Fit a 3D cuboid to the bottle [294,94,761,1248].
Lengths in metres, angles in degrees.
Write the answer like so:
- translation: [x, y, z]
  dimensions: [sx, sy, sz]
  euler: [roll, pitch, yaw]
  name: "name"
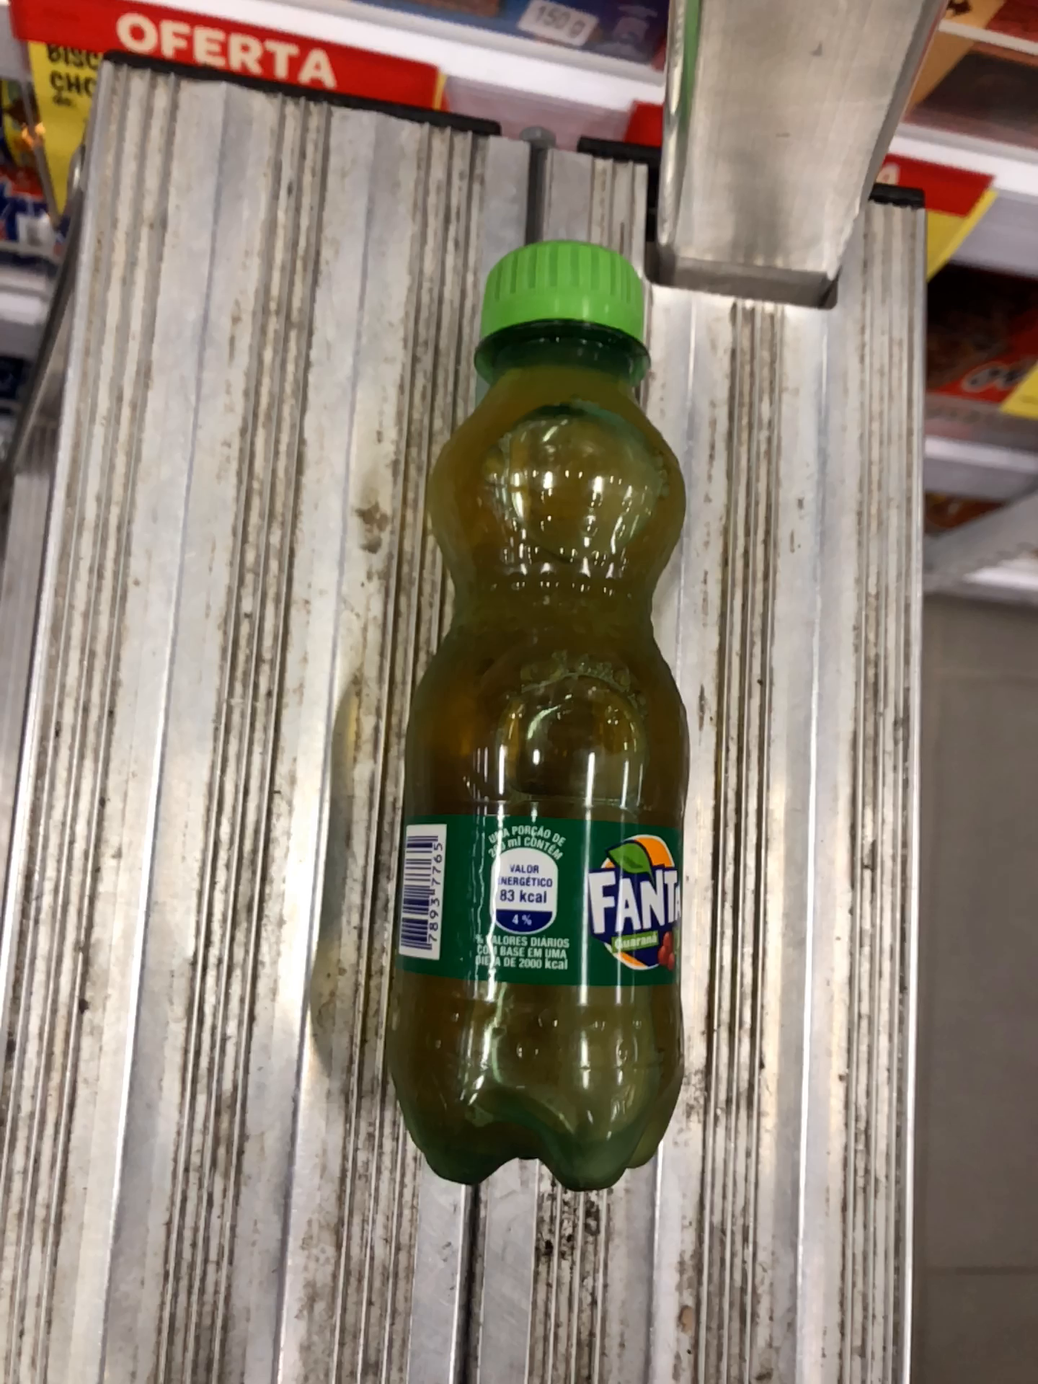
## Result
- translation: [0.006, -0.005, 0.202]
  dimensions: [0.050, 0.050, 0.170]
  euler: [-3, 78, 34]
  name: "bottle"
